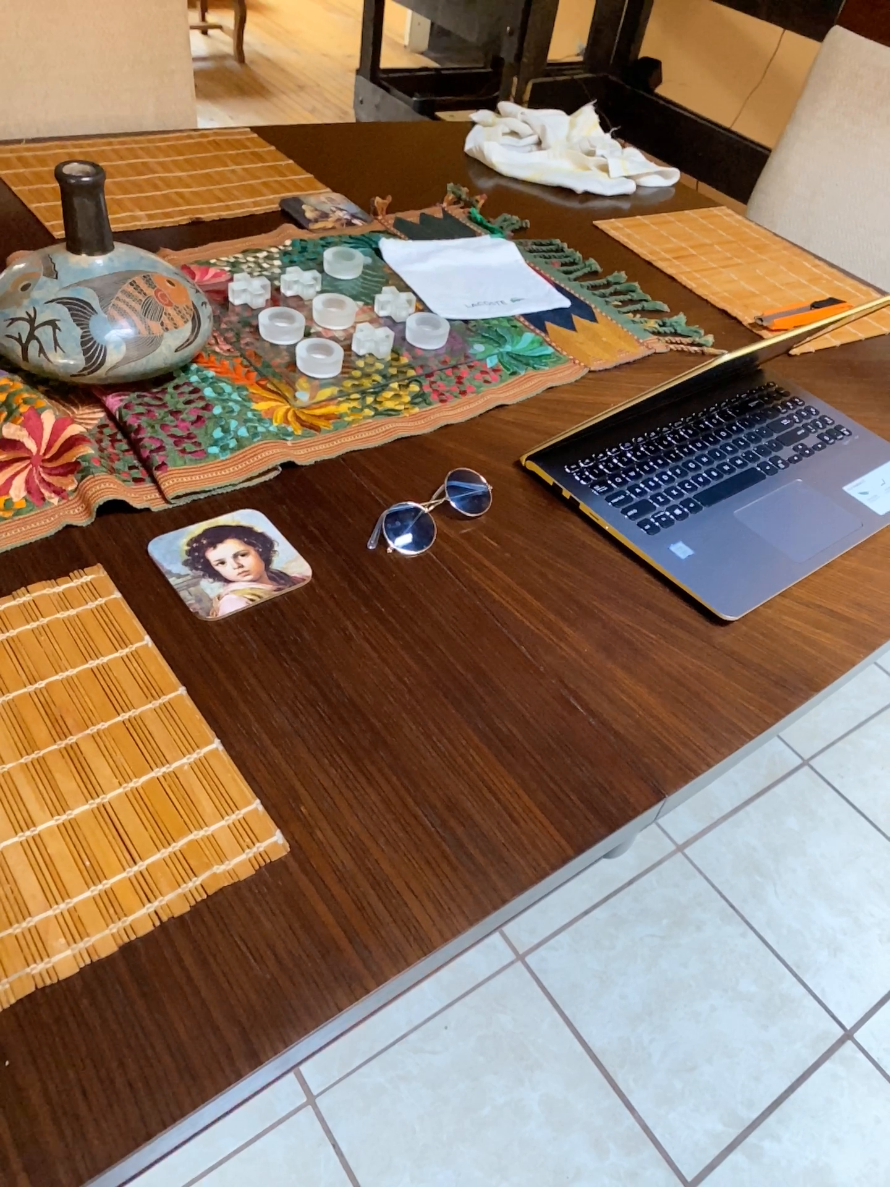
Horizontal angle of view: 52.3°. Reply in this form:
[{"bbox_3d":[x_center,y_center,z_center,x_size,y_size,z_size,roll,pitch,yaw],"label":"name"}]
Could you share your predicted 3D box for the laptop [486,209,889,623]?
[{"bbox_3d":[0.272,-0.186,0.827,0.378,0.181,0.250,-25,55,-33],"label":"laptop"}]
